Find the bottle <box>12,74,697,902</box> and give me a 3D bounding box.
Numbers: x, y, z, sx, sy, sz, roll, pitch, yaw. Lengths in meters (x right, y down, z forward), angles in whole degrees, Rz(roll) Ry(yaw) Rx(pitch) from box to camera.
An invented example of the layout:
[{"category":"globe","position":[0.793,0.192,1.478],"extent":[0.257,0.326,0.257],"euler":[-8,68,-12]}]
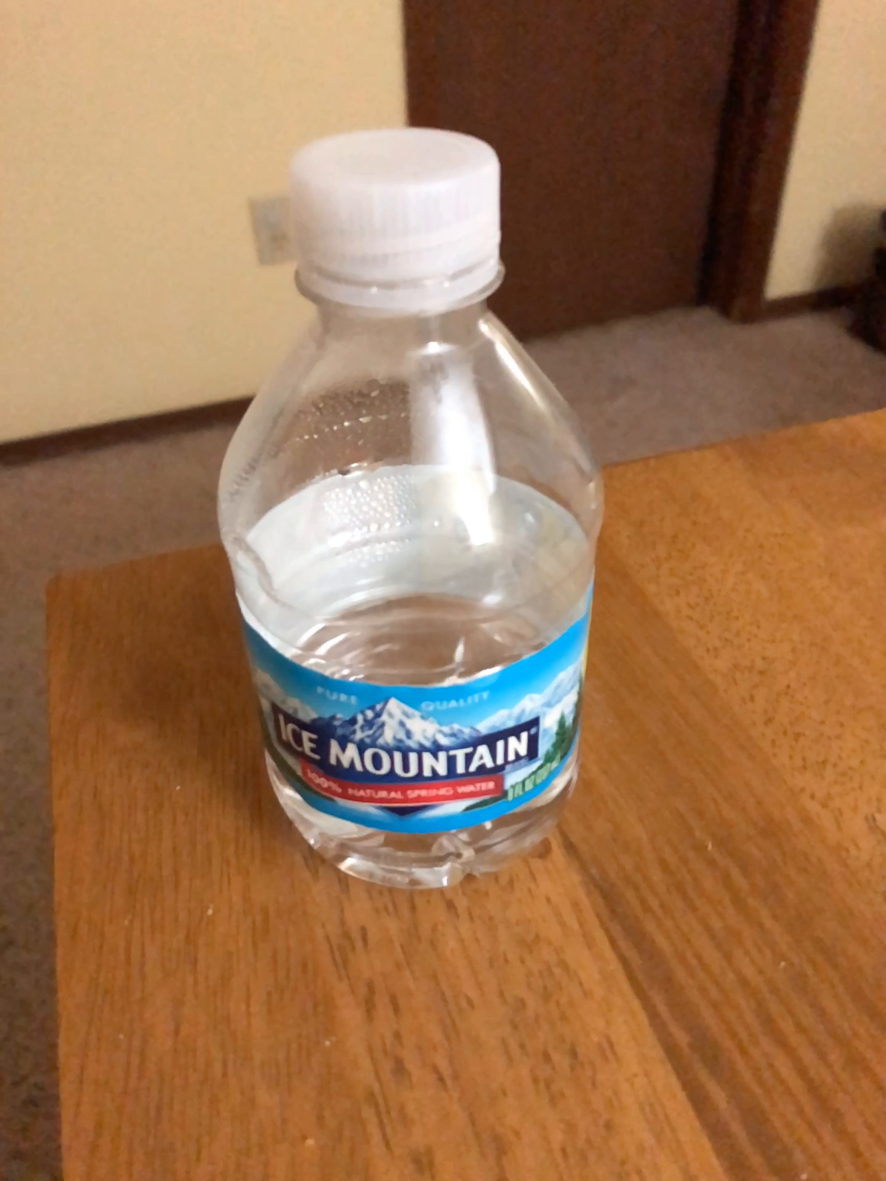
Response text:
[{"category":"bottle","position":[-0.004,-0.015,0.161],"extent":[0.070,0.110,0.070],"euler":[-1,39,1]}]
